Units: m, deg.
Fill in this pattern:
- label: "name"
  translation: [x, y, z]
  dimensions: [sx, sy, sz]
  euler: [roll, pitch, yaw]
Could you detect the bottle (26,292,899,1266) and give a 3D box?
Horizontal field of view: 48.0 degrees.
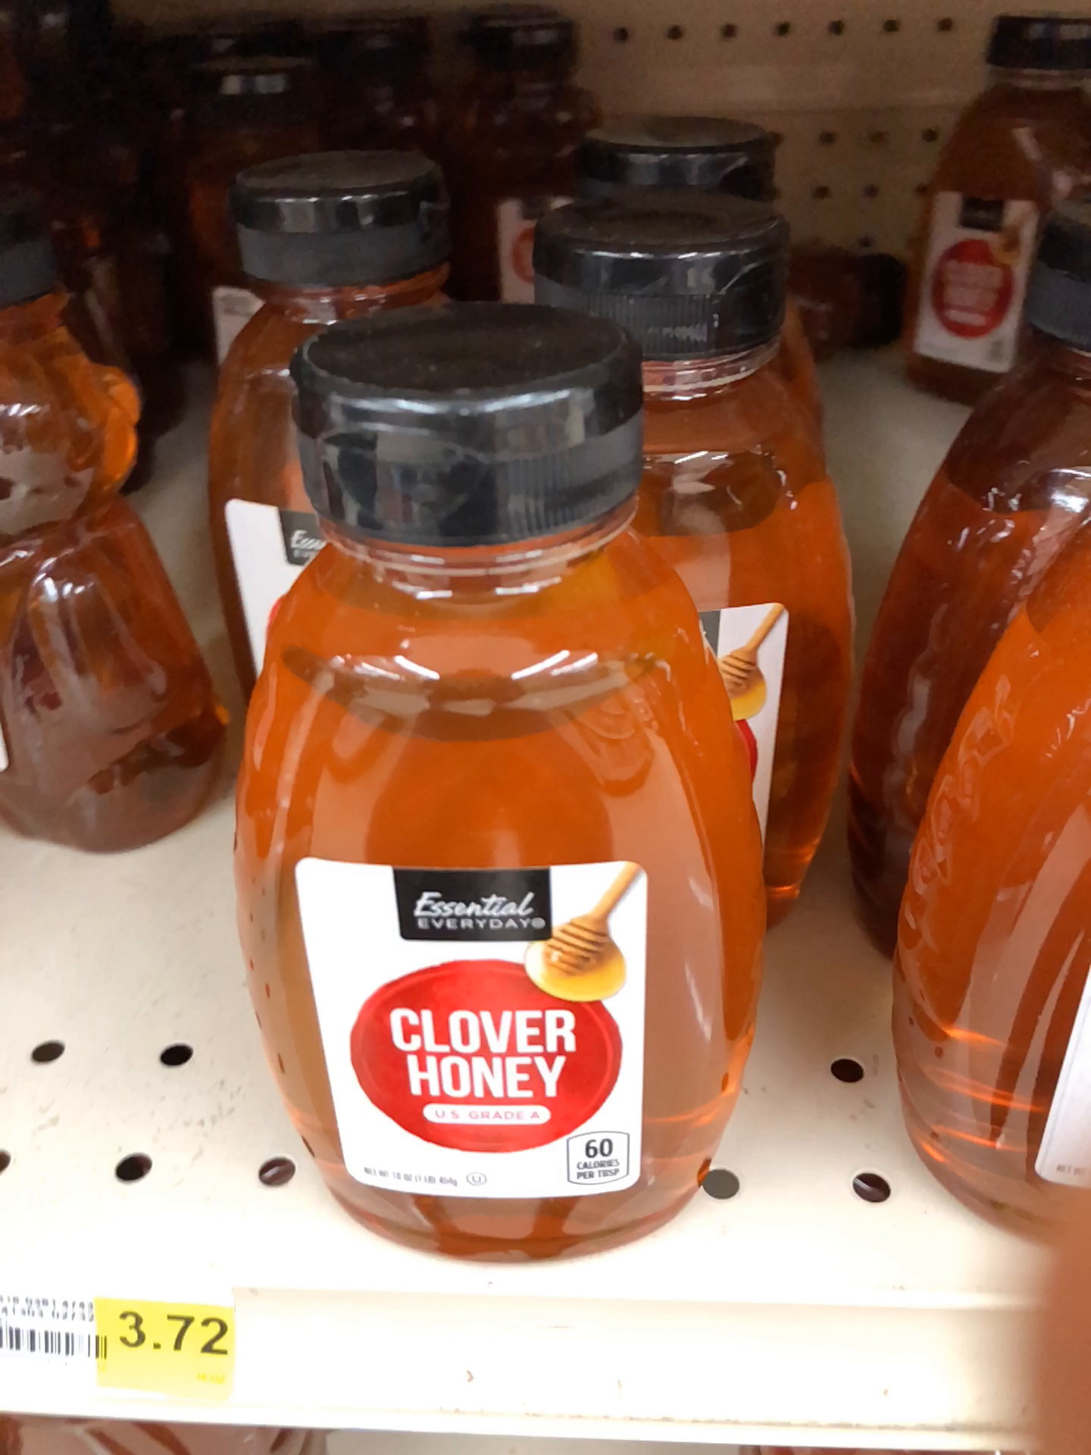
- label: "bottle"
  translation: [-0.006, 0.013, 0.178]
  dimensions: [0.083, 0.130, 0.060]
  euler: [-1, 34, 2]
